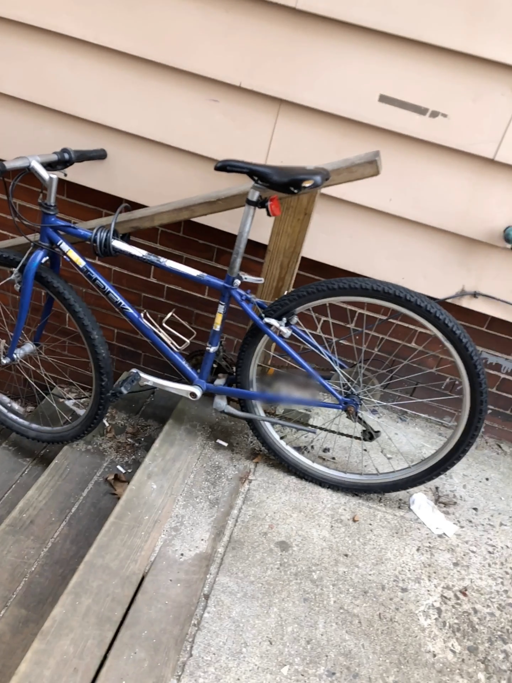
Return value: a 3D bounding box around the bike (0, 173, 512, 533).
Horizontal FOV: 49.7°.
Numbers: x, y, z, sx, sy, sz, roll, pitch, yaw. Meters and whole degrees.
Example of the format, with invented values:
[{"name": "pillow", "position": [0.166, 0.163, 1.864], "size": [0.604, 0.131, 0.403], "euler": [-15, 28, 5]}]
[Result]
[{"name": "bike", "position": [-0.181, -0.044, 1.667], "size": [1.520, 0.619, 0.535], "euler": [11, 32, 12]}]
